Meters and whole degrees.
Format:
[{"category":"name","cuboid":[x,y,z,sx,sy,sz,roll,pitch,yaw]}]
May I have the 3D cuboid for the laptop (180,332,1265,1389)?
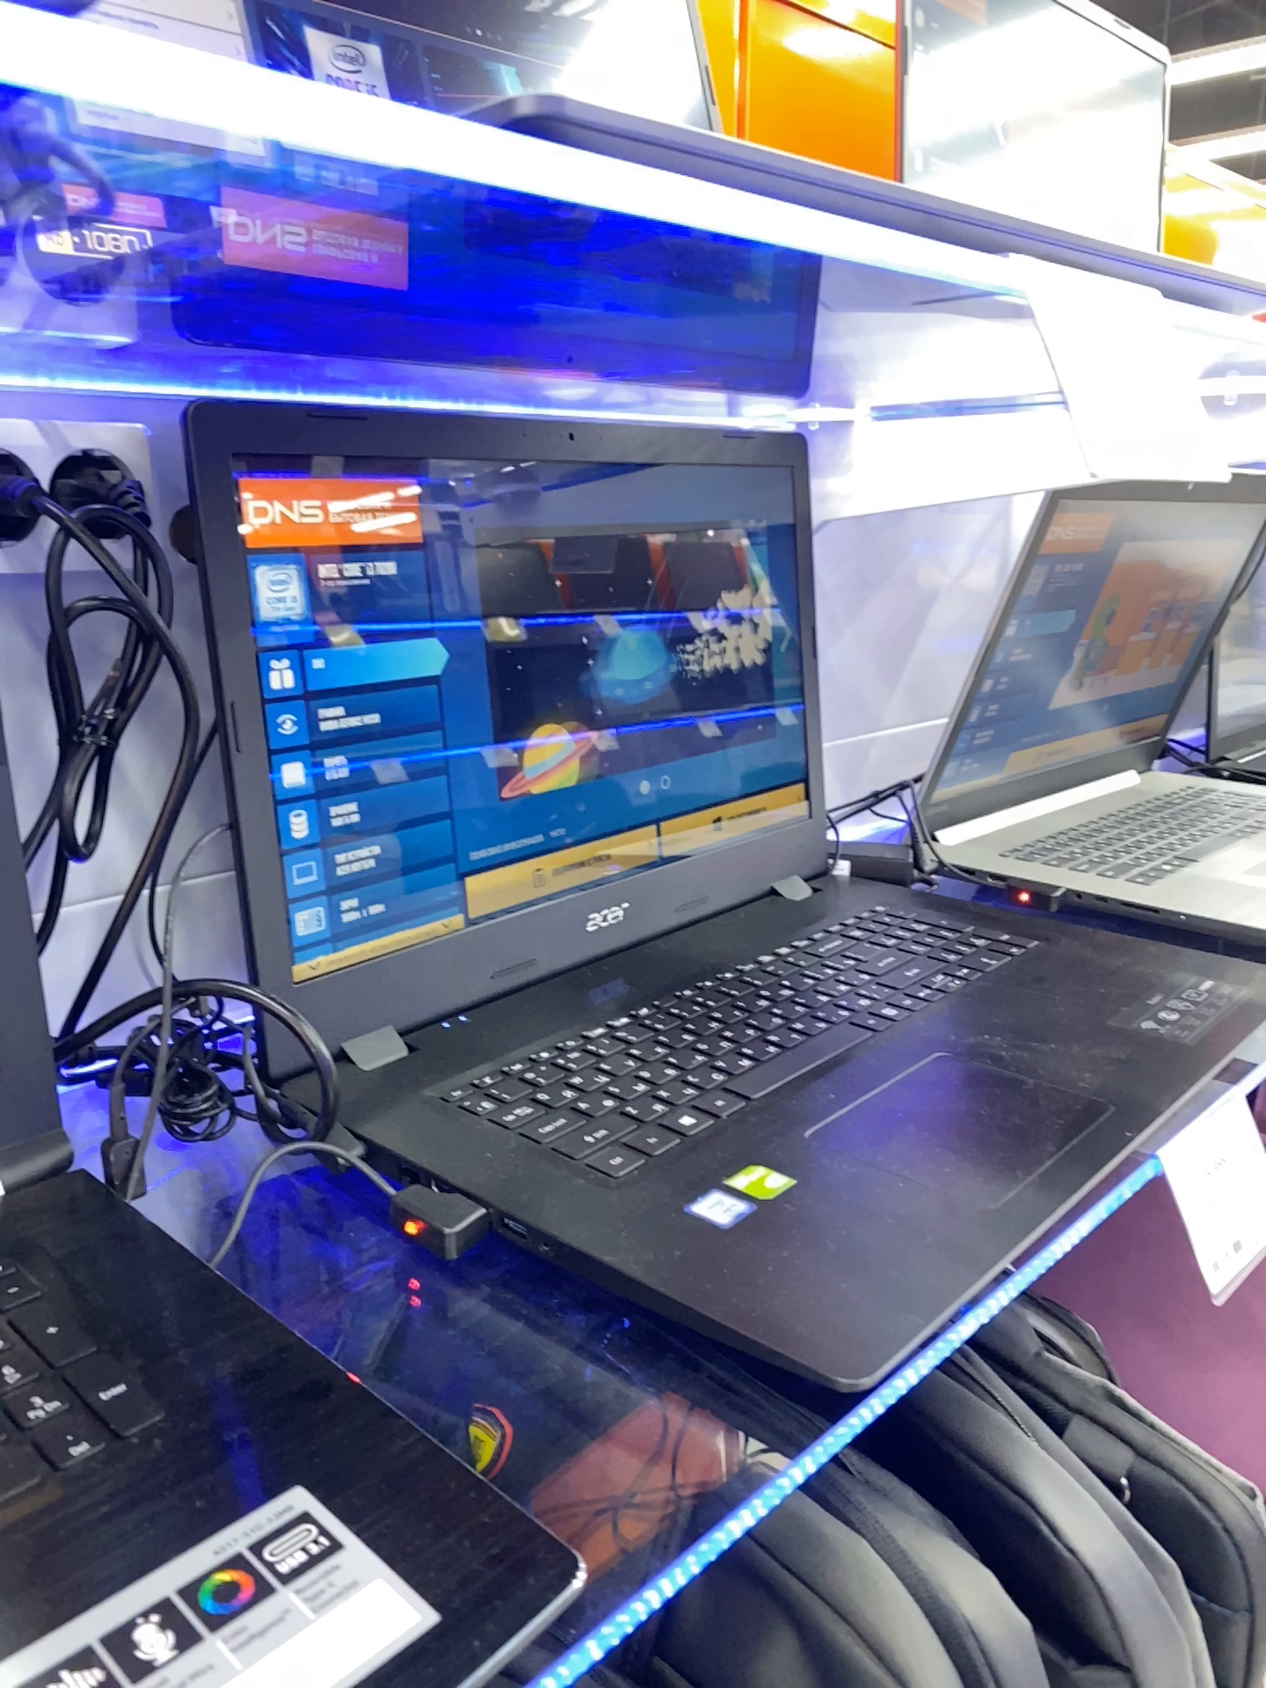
[{"category":"laptop","cuboid":[0.087,-0.051,0.581,0.327,0.273,0.422,13,19,41]}]
